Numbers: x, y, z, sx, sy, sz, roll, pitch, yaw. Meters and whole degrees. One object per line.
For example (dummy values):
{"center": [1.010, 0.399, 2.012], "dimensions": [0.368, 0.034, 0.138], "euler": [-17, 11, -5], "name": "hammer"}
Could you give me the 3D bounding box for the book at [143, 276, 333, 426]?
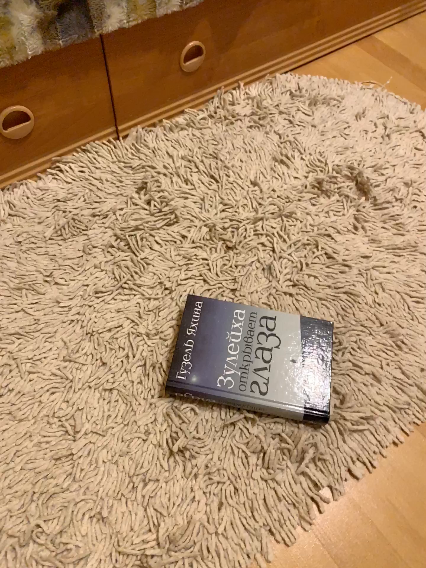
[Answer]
{"center": [0.038, 0.082, 0.567], "dimensions": [0.220, 0.040, 0.151], "euler": [11, 58, 3], "name": "book"}
